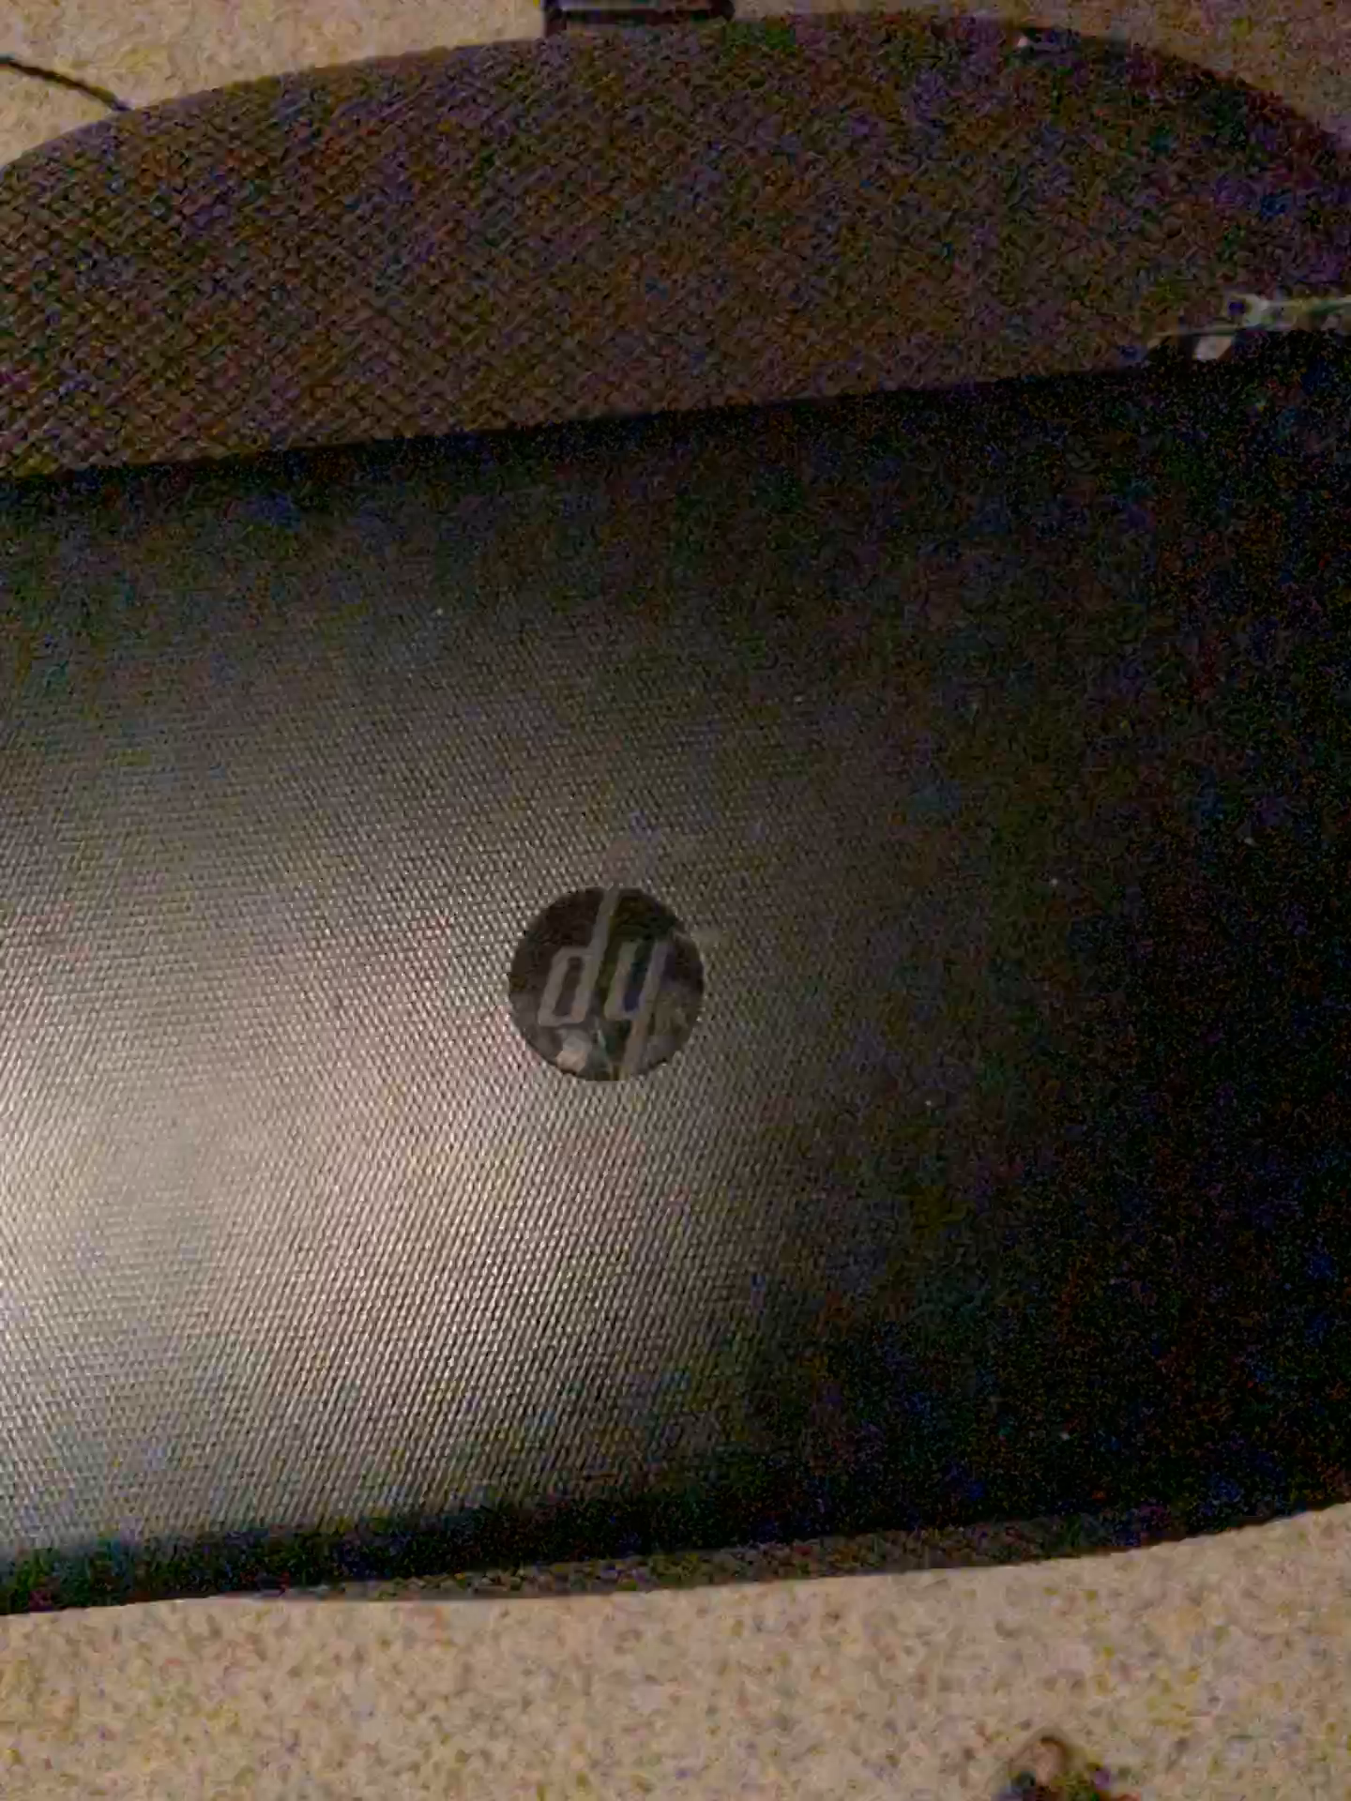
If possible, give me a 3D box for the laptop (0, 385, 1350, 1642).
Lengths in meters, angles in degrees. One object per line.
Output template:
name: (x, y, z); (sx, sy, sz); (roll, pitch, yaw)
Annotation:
laptop: (-0.011, 0.015, 0.321); (0.378, 0.018, 0.244); (-5, 84, -4)
